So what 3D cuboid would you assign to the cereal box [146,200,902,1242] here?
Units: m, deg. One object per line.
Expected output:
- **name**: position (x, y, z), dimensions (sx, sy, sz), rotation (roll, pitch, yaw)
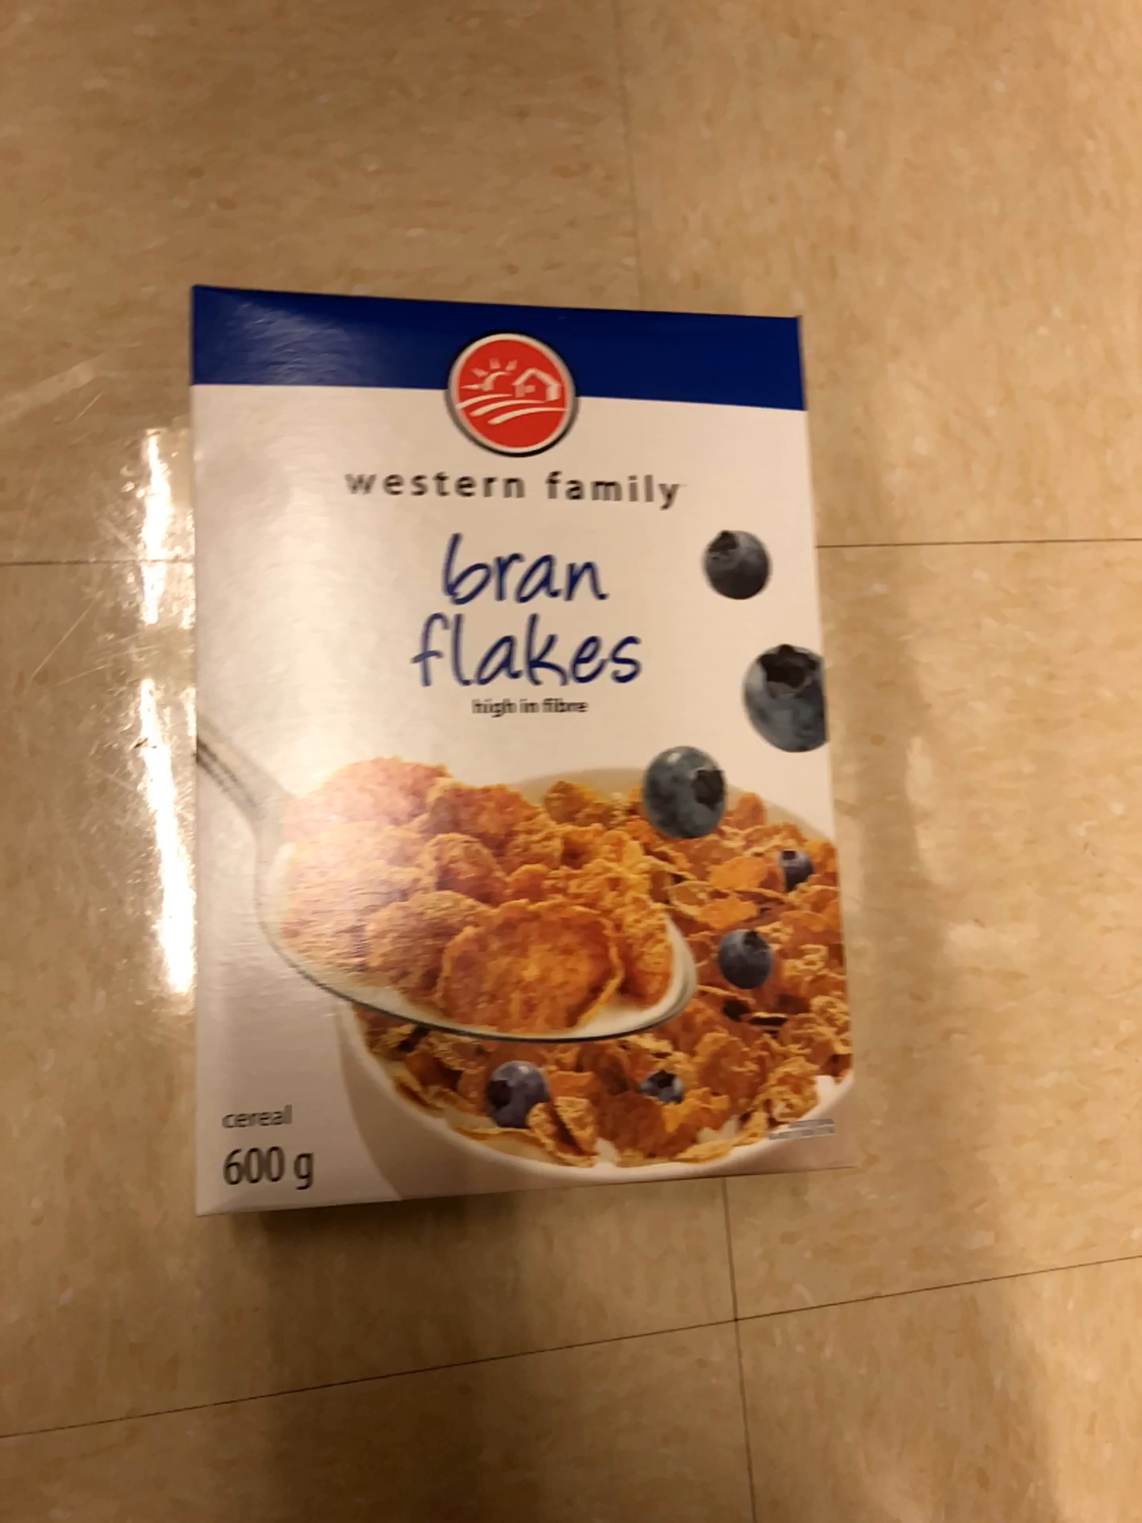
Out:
- **cereal box**: position (-0.021, -0.016, 0.424), dimensions (0.220, 0.090, 0.300), rotation (-1, 83, -11)
